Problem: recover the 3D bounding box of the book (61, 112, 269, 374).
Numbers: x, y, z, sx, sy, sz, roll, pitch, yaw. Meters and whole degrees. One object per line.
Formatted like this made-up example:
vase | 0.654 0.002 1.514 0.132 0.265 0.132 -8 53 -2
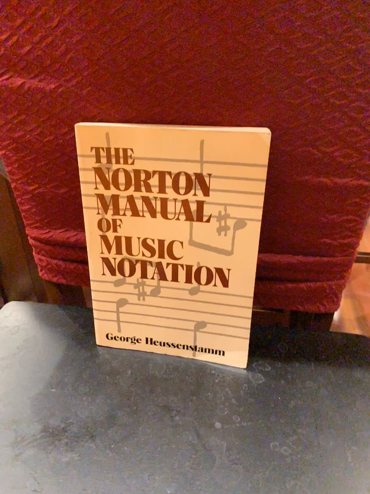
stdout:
book | -0.020 0.004 0.388 0.180 0.259 0.030 6 25 10
